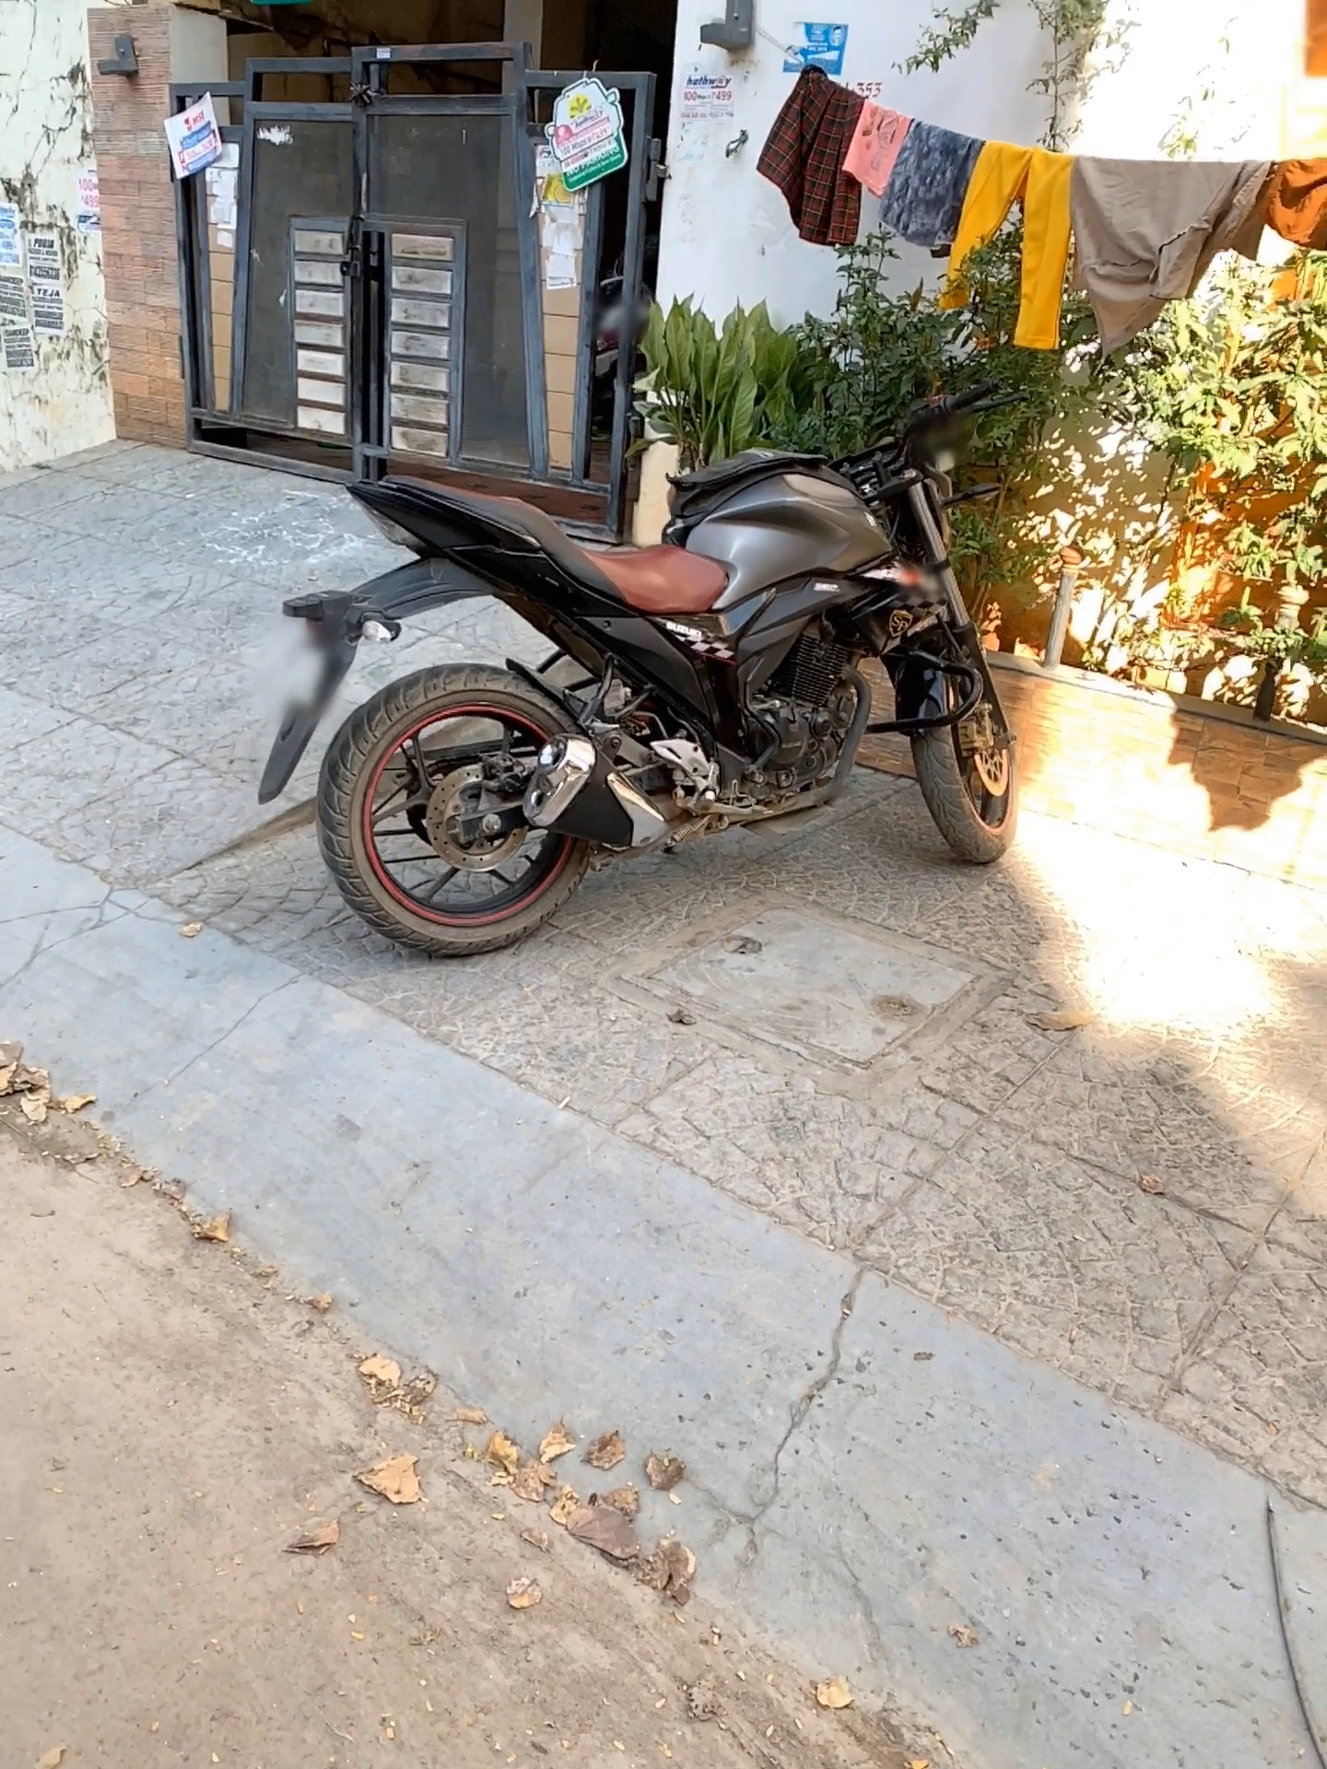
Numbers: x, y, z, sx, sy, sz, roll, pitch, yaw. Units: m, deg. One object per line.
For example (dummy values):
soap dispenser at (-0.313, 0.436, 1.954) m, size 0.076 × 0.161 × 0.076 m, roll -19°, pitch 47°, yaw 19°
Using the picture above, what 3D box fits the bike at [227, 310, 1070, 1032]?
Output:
bike at (-0.035, -0.584, 2.951) m, size 1.625 × 1.140 × 0.811 m, roll -13°, pitch 28°, yaw -34°
